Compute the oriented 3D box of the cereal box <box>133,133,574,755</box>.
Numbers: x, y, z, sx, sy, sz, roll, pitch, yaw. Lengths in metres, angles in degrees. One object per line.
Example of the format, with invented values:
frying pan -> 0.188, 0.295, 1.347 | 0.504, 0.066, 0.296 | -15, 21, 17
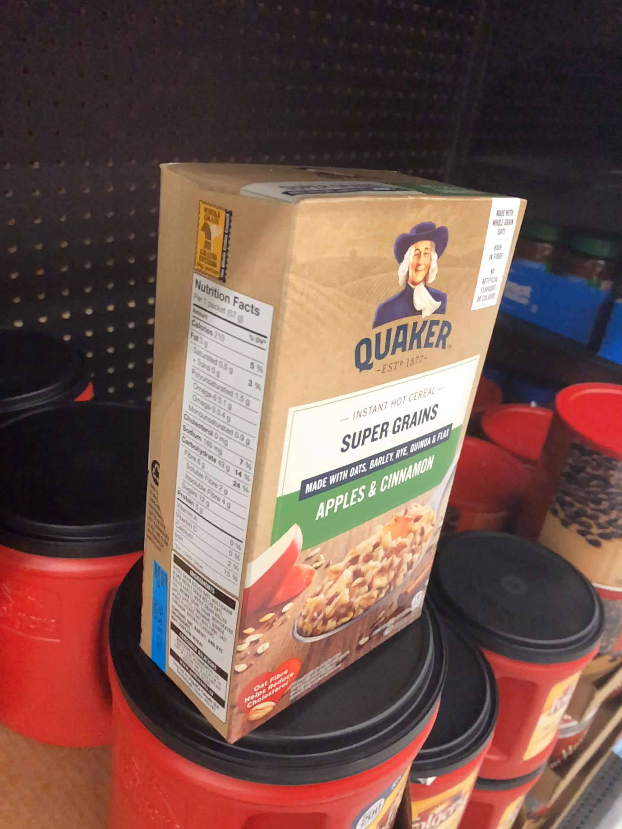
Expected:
cereal box -> 0.011, 0.005, 0.268 | 0.140, 0.199, 0.060 | -17, 36, -41
